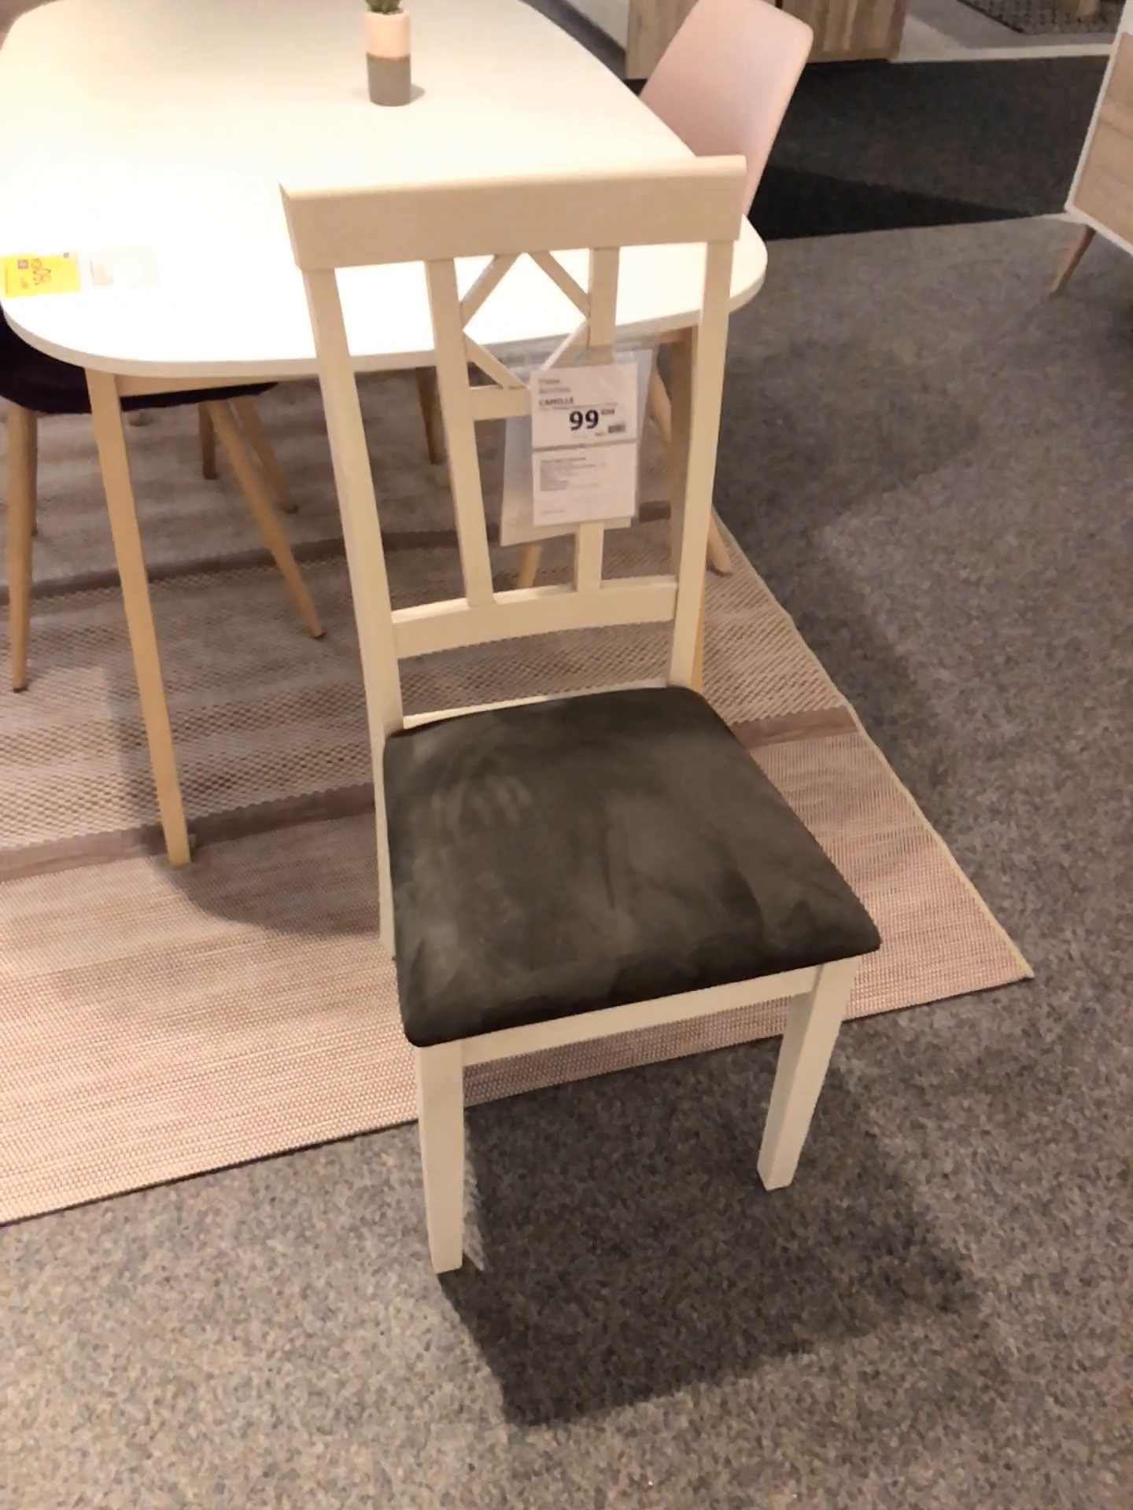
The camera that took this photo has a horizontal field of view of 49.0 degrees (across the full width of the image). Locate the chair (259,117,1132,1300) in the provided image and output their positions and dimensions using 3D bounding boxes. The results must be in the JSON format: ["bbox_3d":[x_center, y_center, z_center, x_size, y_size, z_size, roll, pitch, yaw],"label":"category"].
[{"bbox_3d":[0.060,-0.023,1.136,0.511,0.855,0.562,-9,45,-13],"label":"chair"}]
